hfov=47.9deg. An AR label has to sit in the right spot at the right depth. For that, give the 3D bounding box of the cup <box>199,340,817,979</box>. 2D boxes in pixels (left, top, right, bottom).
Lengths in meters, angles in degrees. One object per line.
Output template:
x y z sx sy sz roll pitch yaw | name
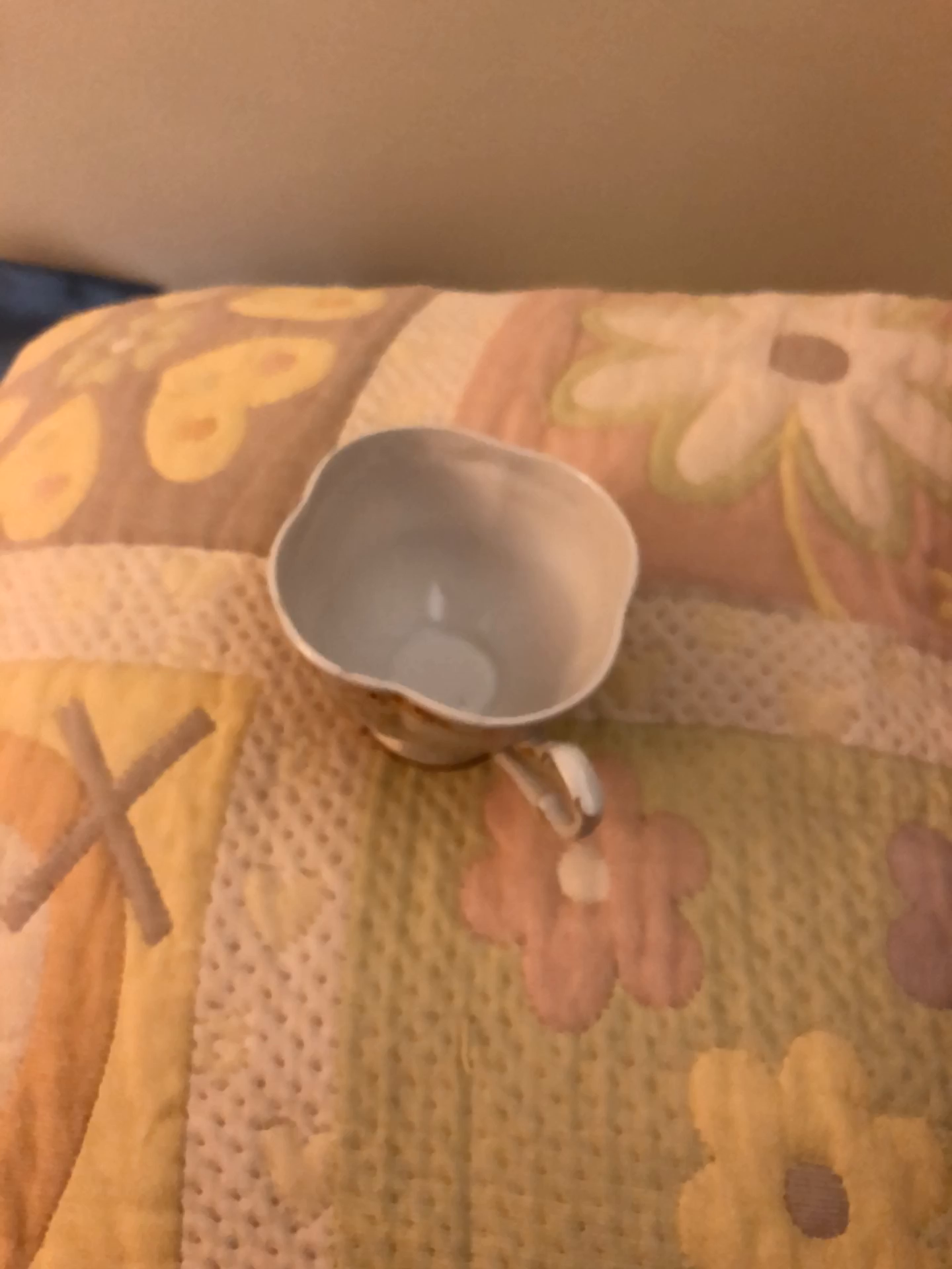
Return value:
0.000 0.000 0.300 0.100 0.070 0.141 -22 59 -22 | cup
